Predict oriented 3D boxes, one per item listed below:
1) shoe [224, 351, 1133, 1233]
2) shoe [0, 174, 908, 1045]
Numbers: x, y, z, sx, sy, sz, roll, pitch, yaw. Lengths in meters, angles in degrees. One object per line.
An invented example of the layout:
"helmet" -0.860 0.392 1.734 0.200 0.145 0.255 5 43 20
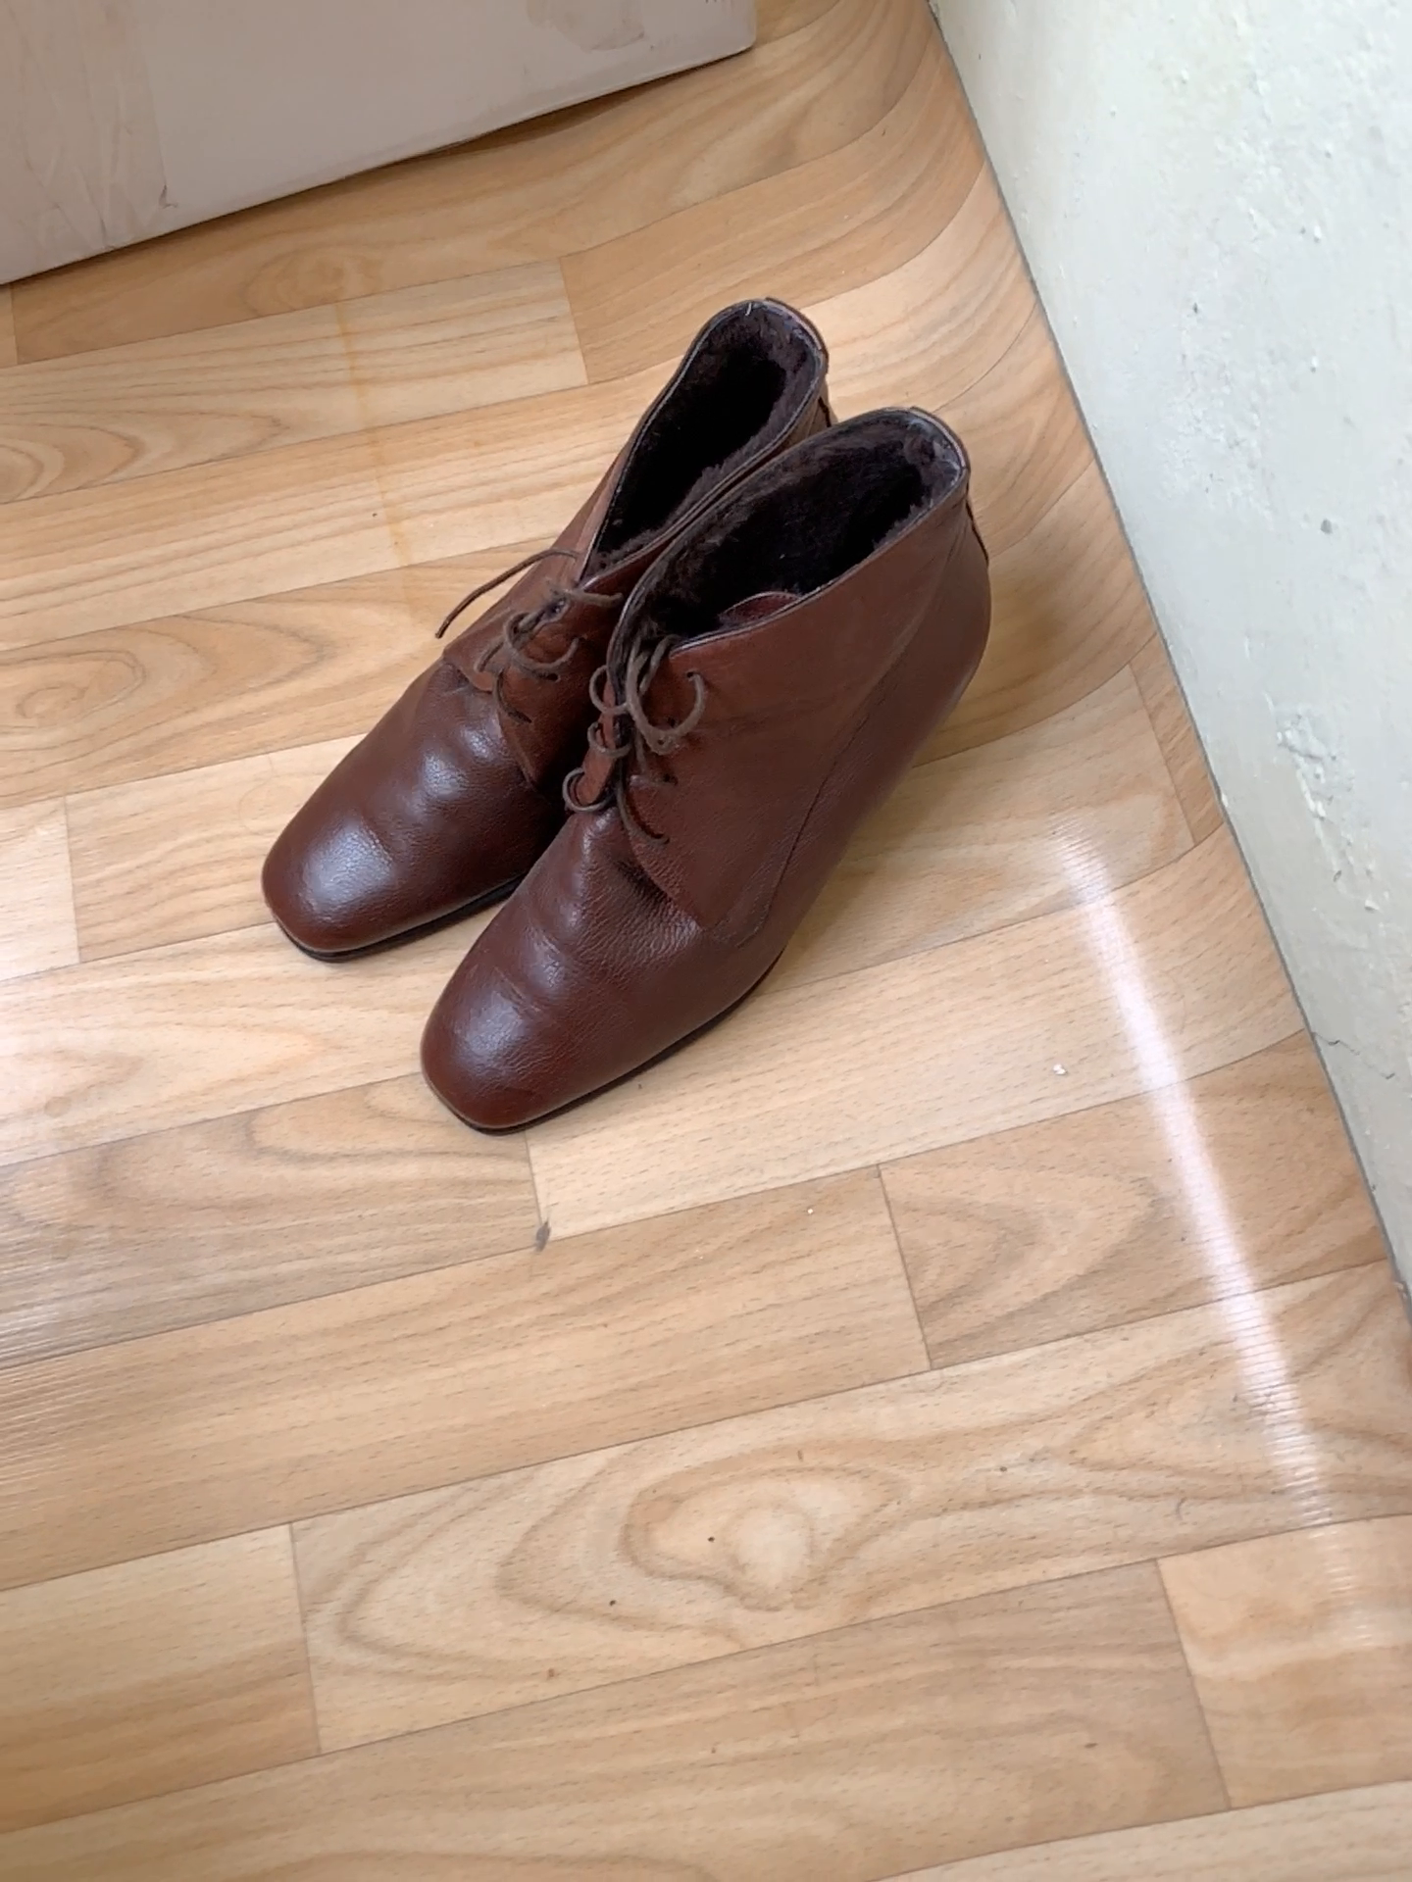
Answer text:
"shoe" 0.001 -0.030 0.416 0.220 0.150 0.080 -41 74 -9
"shoe" -0.056 -0.085 0.428 0.220 0.150 0.080 -37 73 -8
